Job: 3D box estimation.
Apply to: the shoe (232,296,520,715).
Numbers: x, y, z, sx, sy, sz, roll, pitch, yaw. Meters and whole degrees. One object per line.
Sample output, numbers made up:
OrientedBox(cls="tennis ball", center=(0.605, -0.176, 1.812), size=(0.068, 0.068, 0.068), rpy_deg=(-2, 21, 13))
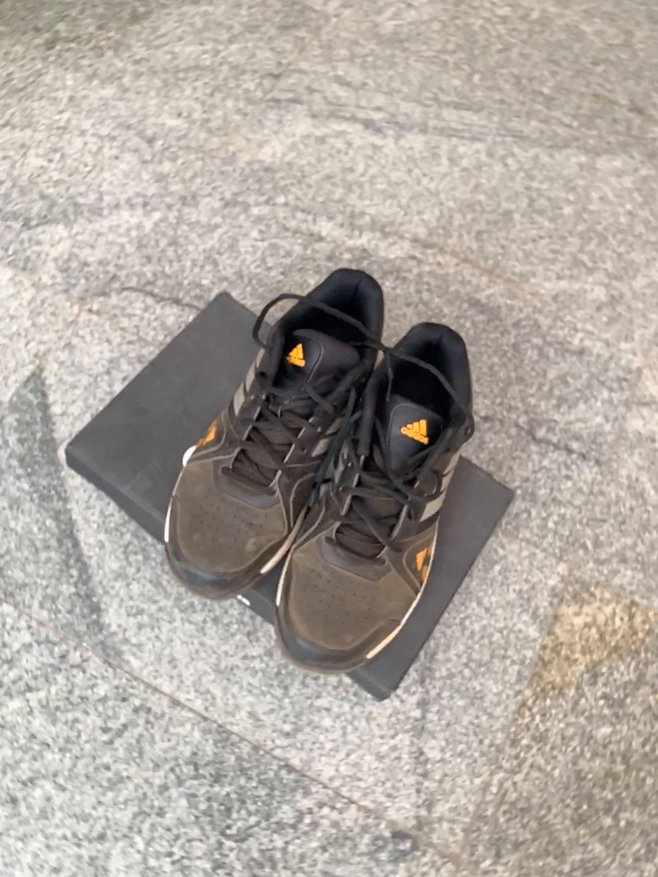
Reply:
OrientedBox(cls="shoe", center=(0.045, 0.044, 0.540), size=(0.110, 0.090, 0.301), rpy_deg=(21, 66, 9))

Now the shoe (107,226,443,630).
OrientedBox(cls="shoe", center=(-0.031, -0.014, 0.530), size=(0.110, 0.090, 0.291), rpy_deg=(29, 66, 4))
